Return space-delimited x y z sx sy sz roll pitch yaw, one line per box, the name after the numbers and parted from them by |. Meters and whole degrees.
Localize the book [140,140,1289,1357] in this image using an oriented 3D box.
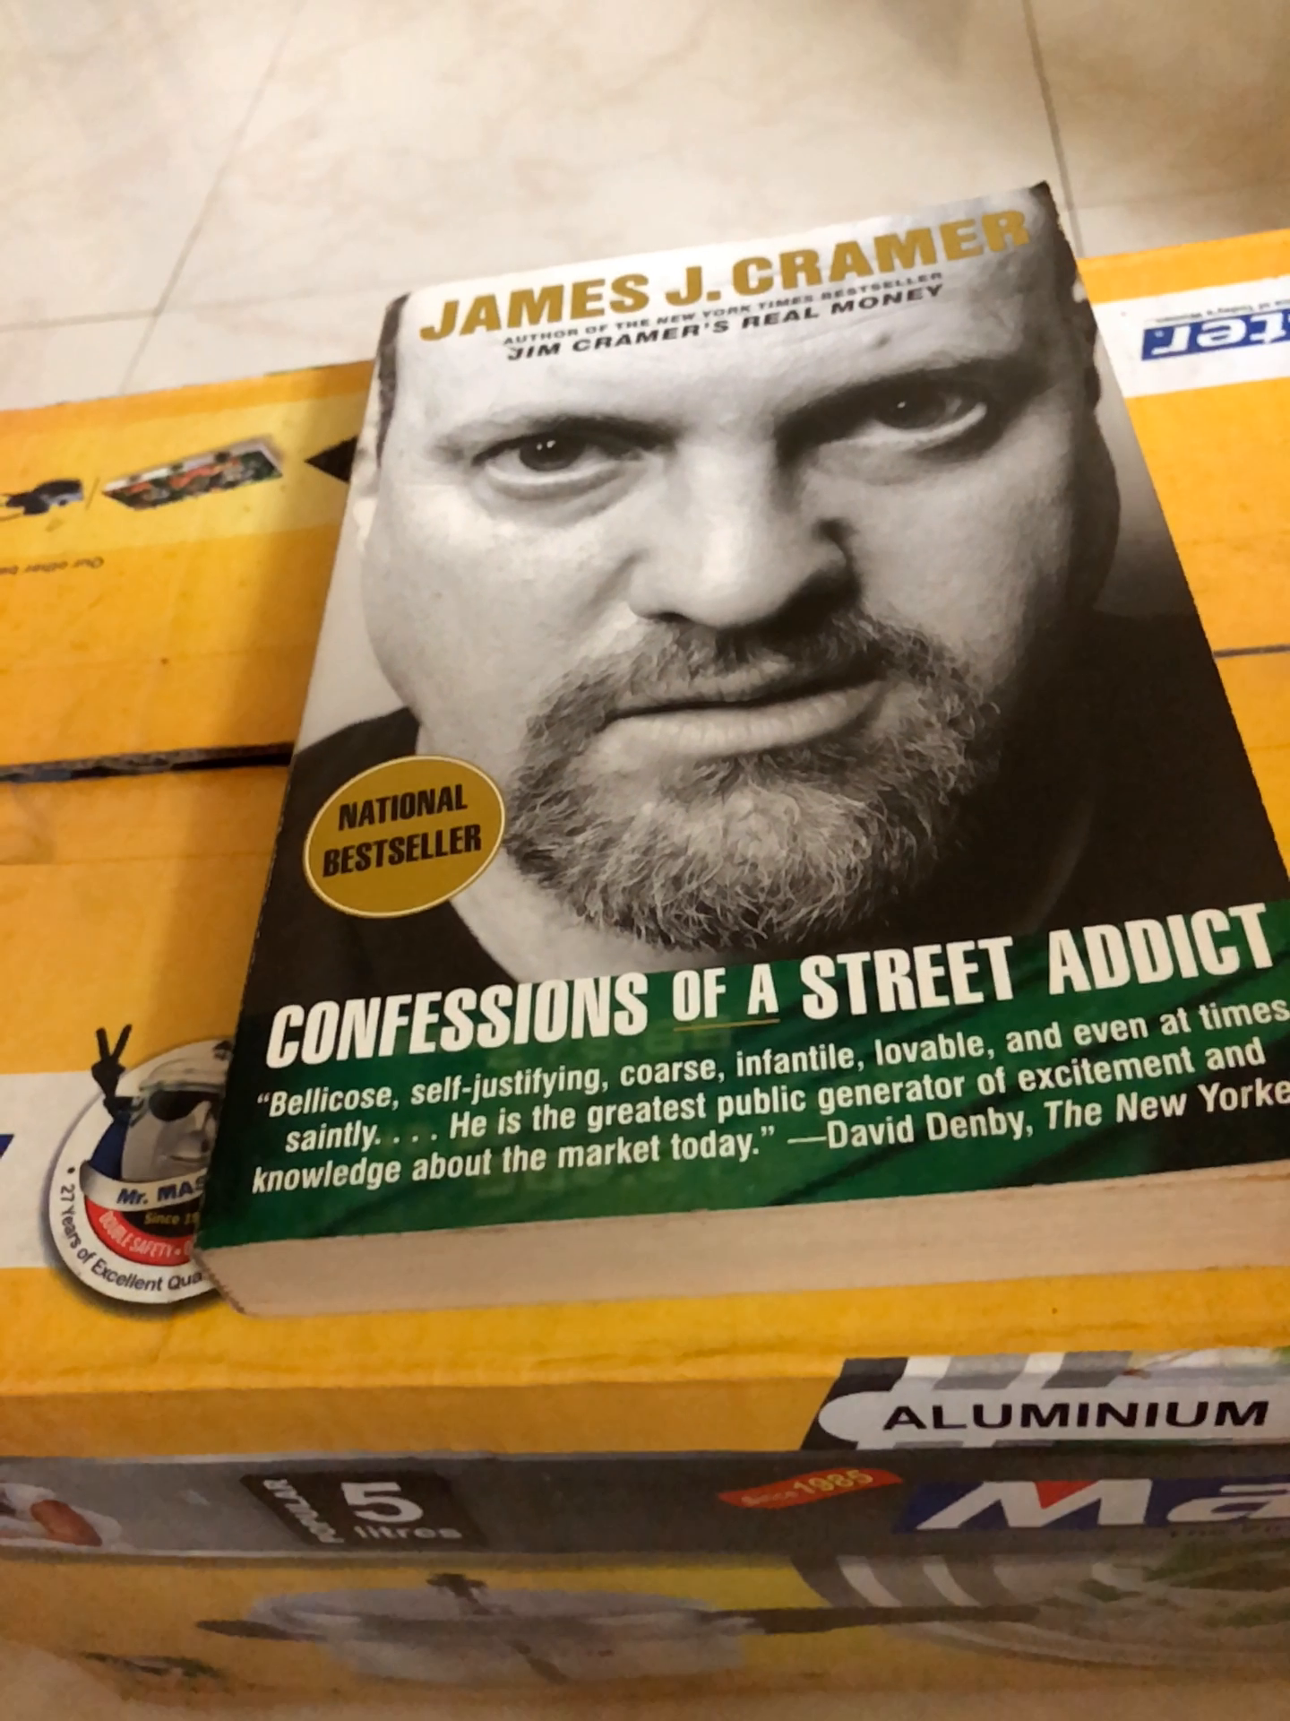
0.014 -0.041 0.242 0.140 0.030 0.231 -6 50 7 | book
